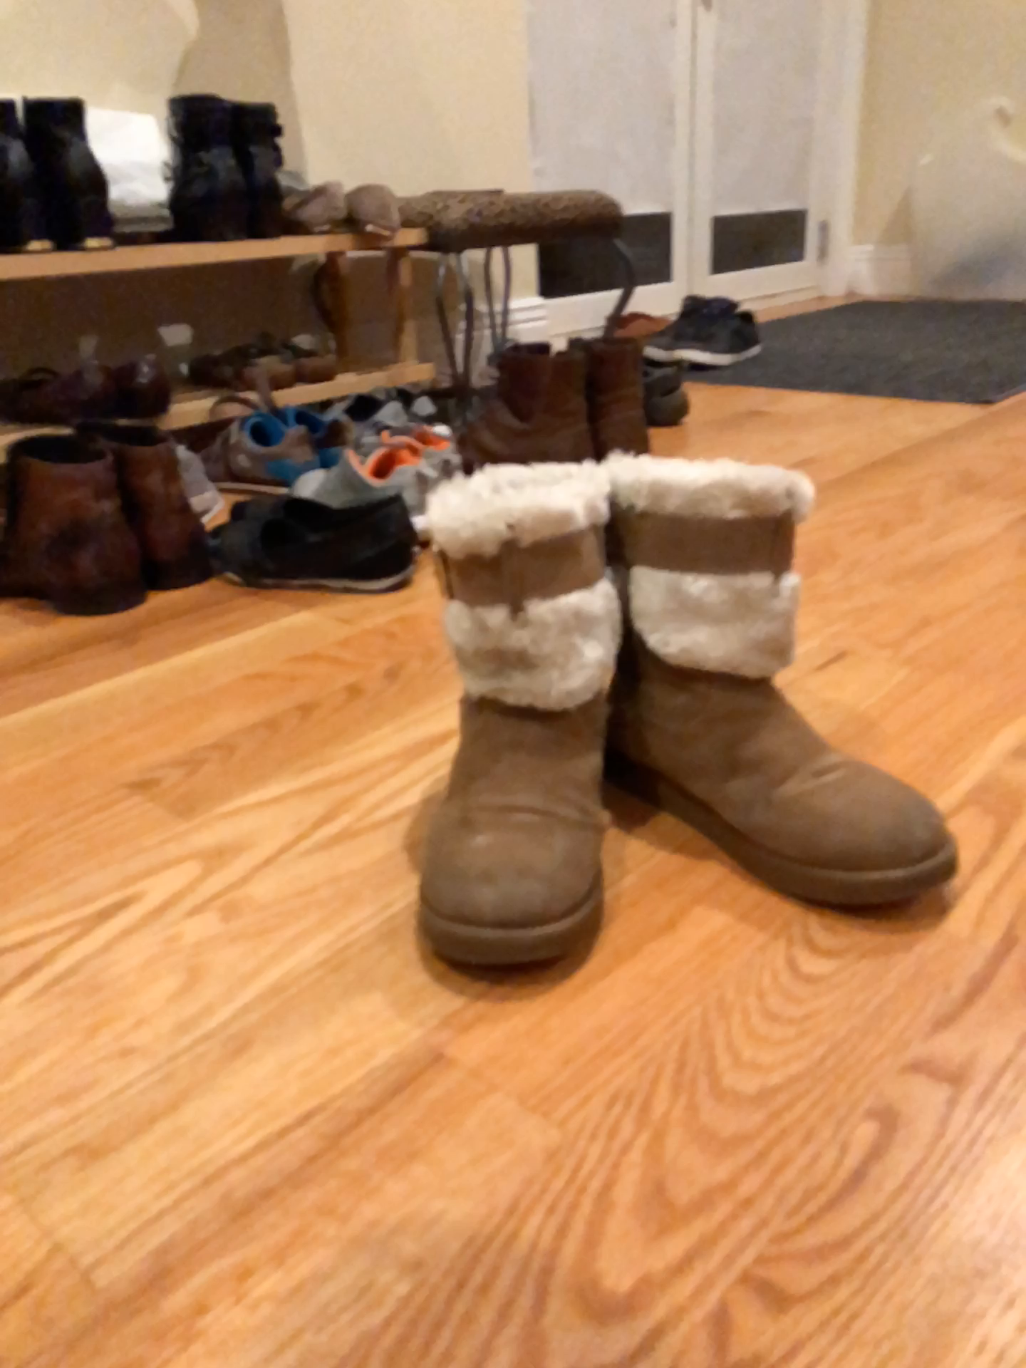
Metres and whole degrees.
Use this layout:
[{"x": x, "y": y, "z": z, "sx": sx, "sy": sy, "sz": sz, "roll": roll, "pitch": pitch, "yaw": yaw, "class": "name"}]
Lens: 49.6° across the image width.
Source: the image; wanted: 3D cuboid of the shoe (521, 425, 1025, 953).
[{"x": 0.129, "y": -0.019, "z": 0.597, "sx": 0.113, "sy": 0.193, "sz": 0.255, "roll": -18, "pitch": 27, "yaw": -31, "class": "shoe"}]

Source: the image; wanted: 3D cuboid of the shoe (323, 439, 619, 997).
[{"x": -0.002, "y": -0.002, "z": 0.570, "sx": 0.106, "sy": 0.193, "sz": 0.255, "roll": -1, "pitch": 23, "yaw": 6, "class": "shoe"}]
